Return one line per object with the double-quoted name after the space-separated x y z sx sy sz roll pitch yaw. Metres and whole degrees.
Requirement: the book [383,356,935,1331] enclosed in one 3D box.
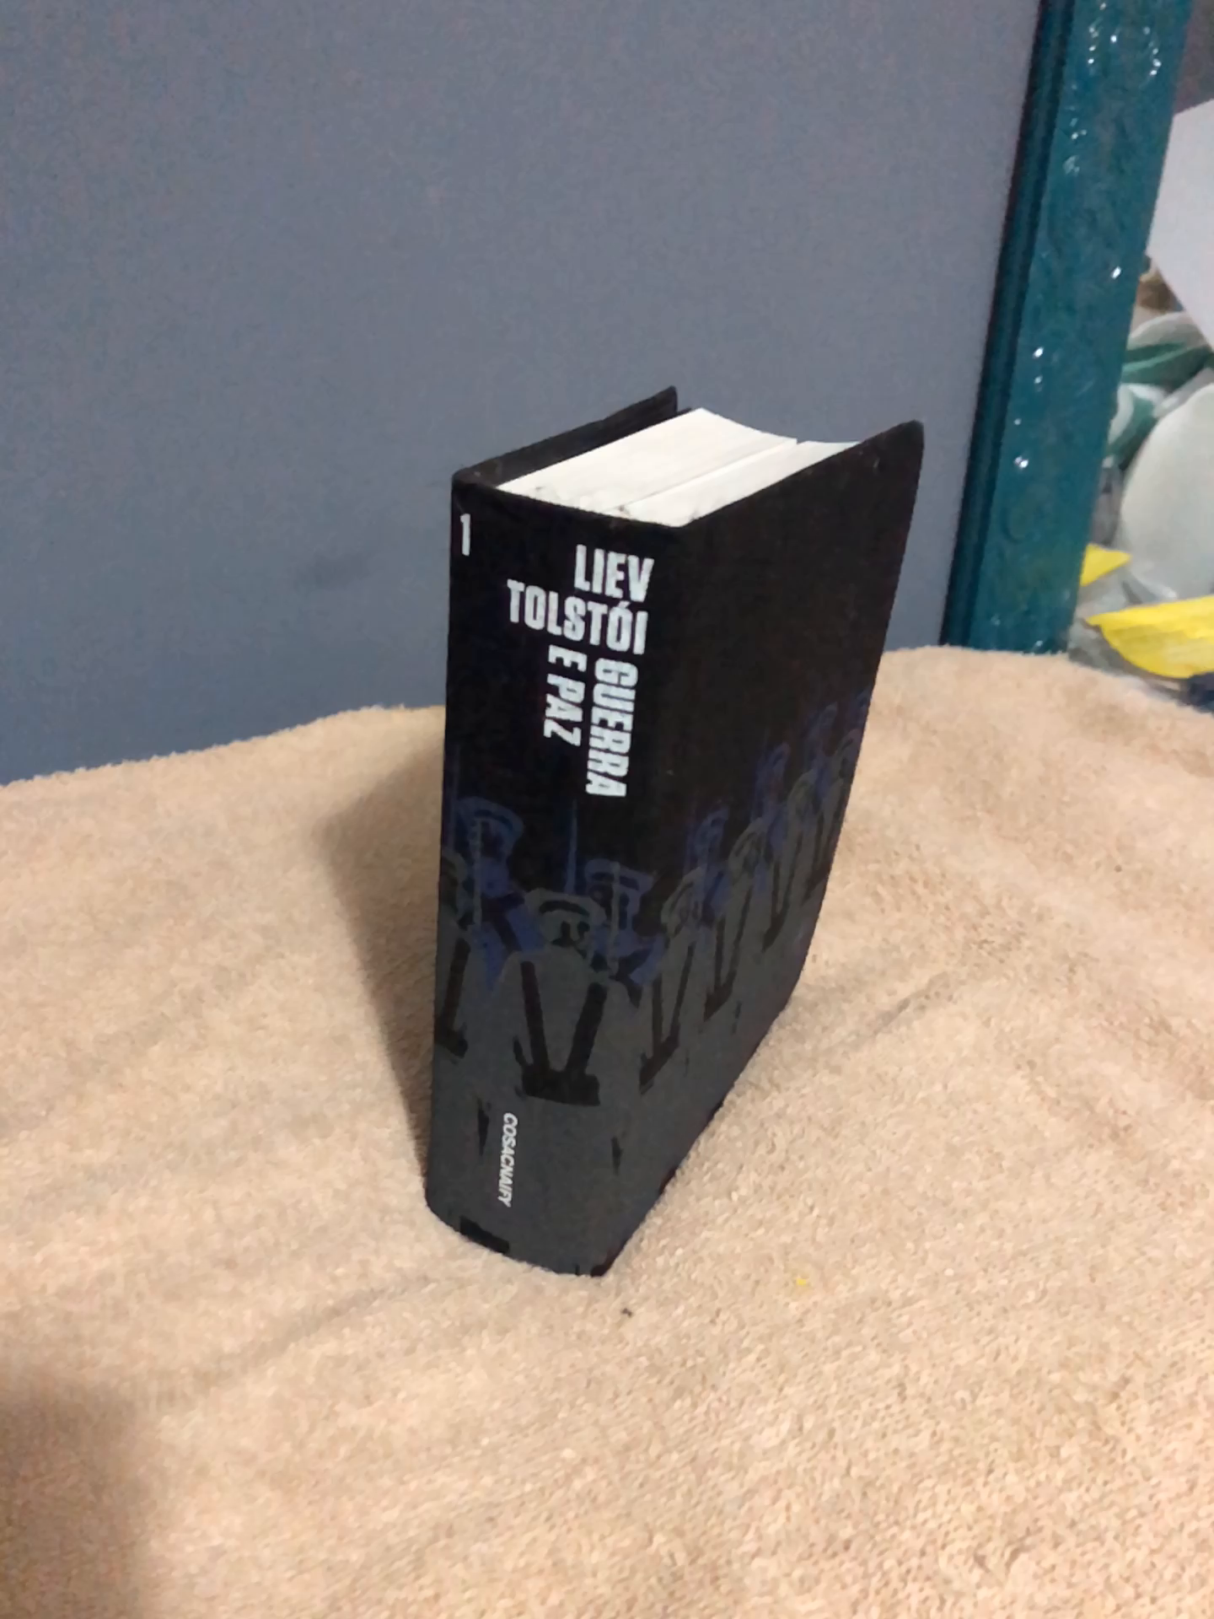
0.014 -0.003 0.325 0.060 0.179 0.151 17 30 21 "book"
